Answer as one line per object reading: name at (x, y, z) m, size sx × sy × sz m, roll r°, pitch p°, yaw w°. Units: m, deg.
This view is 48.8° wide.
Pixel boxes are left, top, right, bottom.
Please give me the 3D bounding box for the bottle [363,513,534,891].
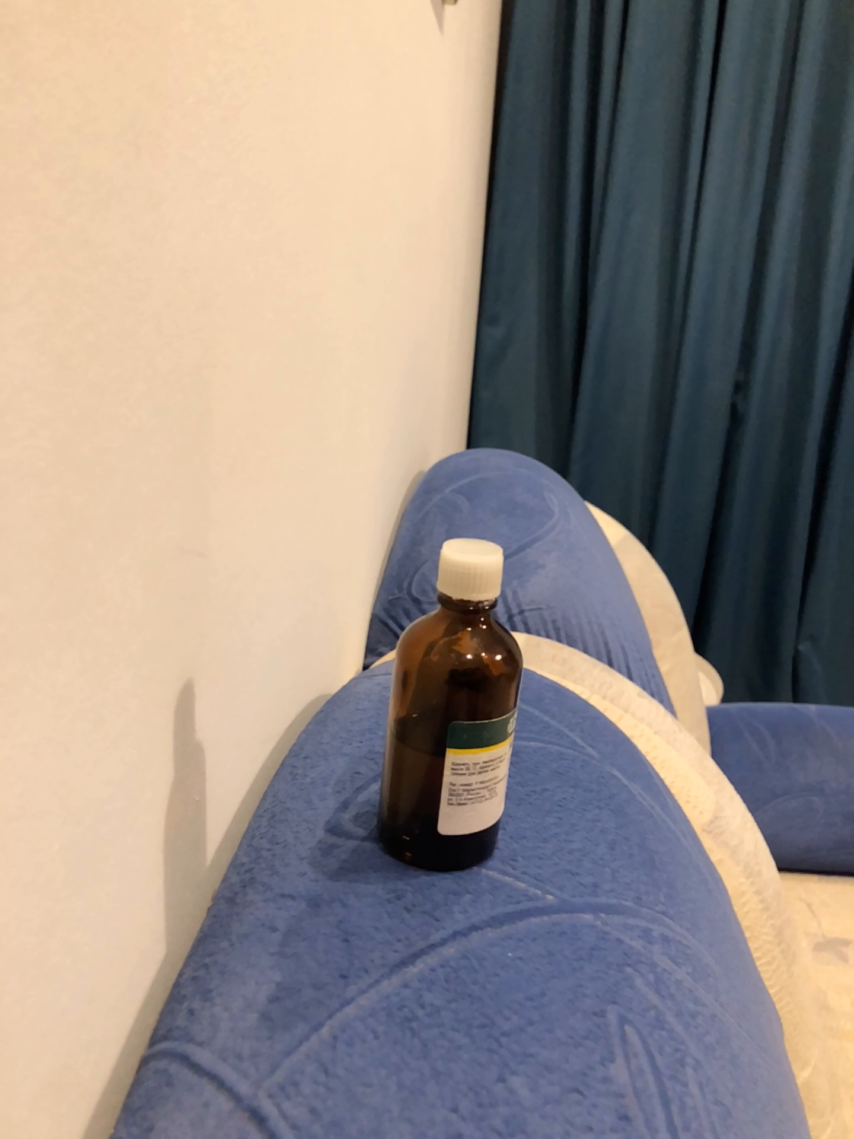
bottle at (0.006, 0.038, 0.283) m, size 0.040 × 0.100 × 0.045 m, roll 5°, pitch 17°, yaw 1°
